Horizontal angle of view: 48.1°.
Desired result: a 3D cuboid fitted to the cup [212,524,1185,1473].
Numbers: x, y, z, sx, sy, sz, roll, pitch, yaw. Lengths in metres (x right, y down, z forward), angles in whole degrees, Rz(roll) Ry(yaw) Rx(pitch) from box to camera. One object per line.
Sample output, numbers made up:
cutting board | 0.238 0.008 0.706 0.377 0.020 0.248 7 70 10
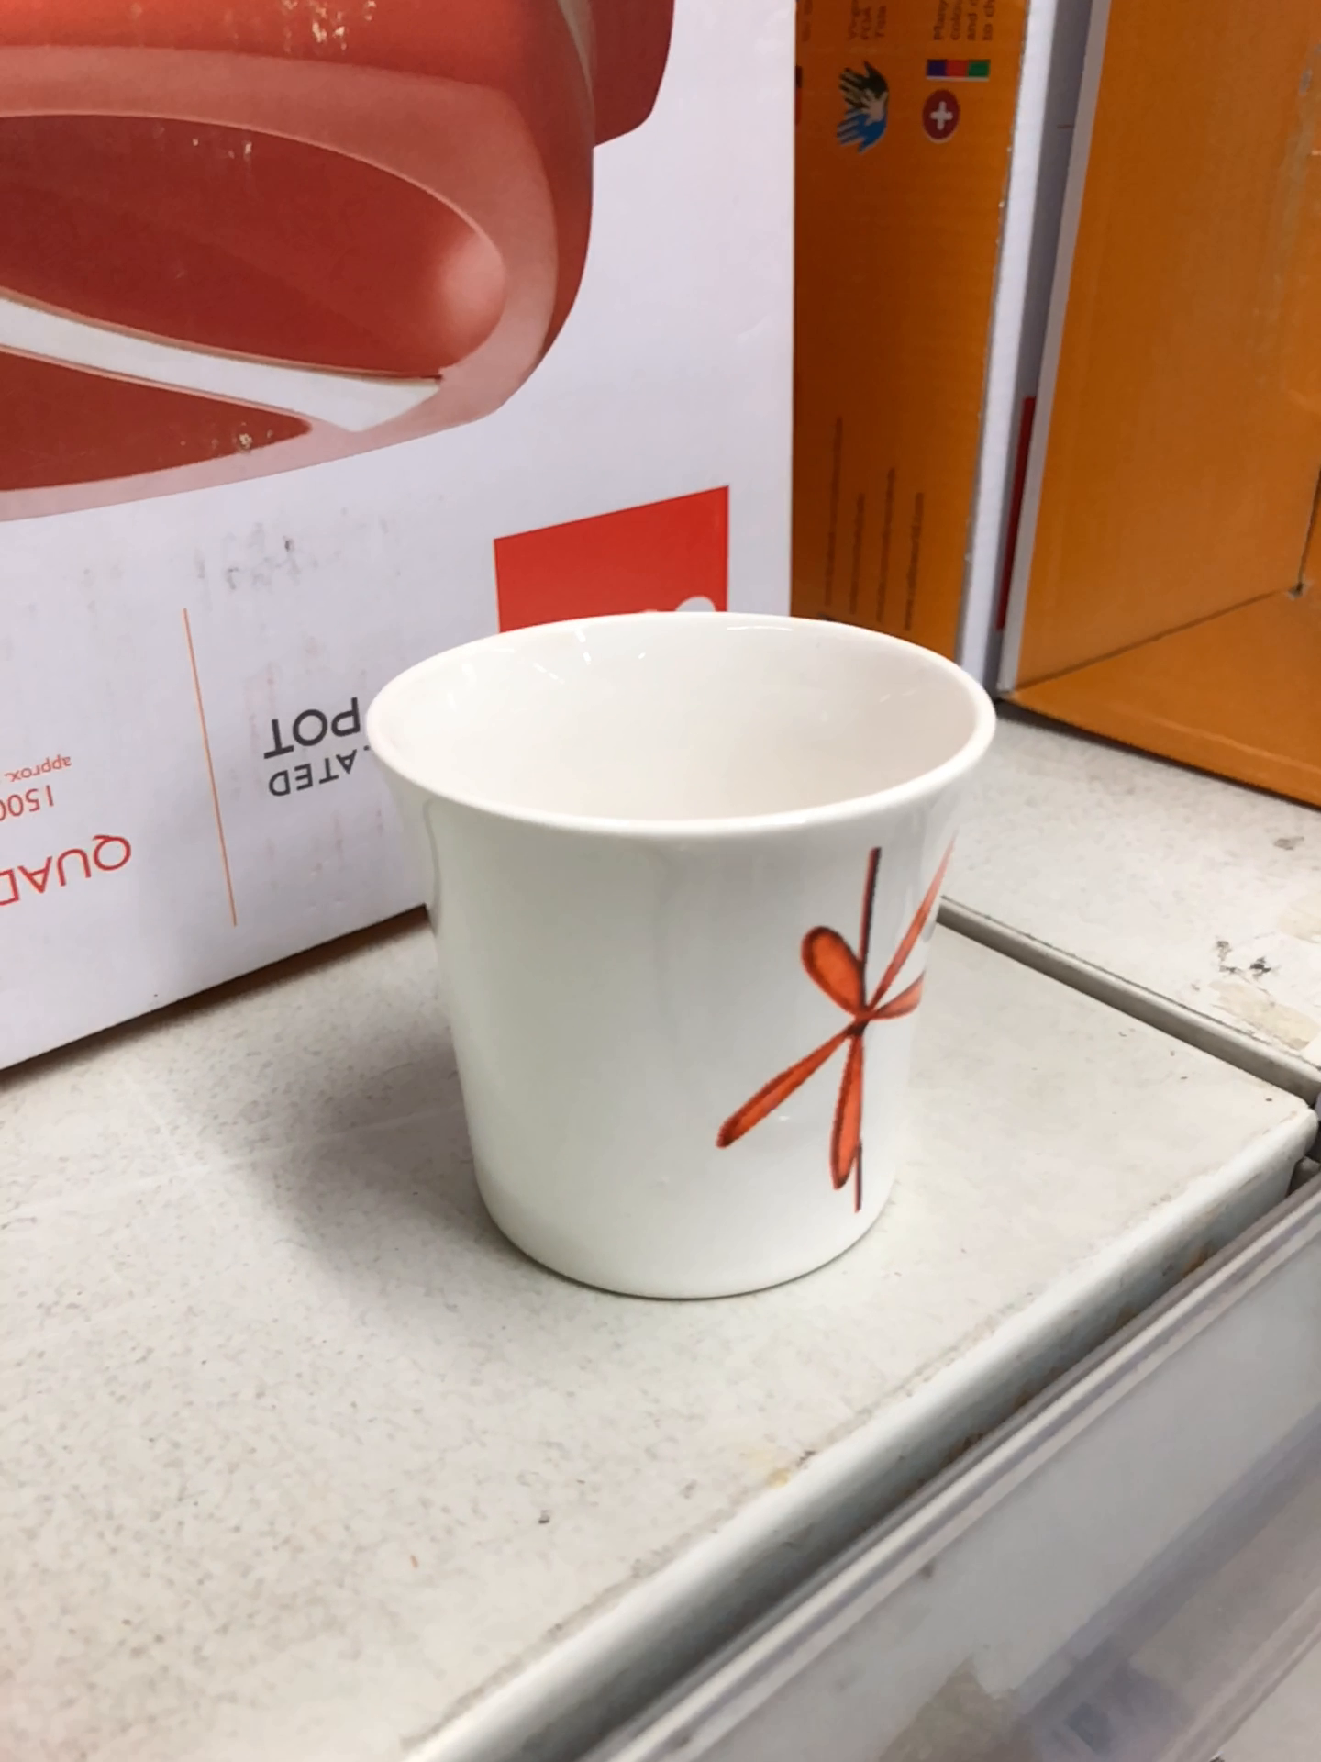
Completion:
cup | 0.010 0.003 0.195 0.070 0.070 0.101 21 34 36
